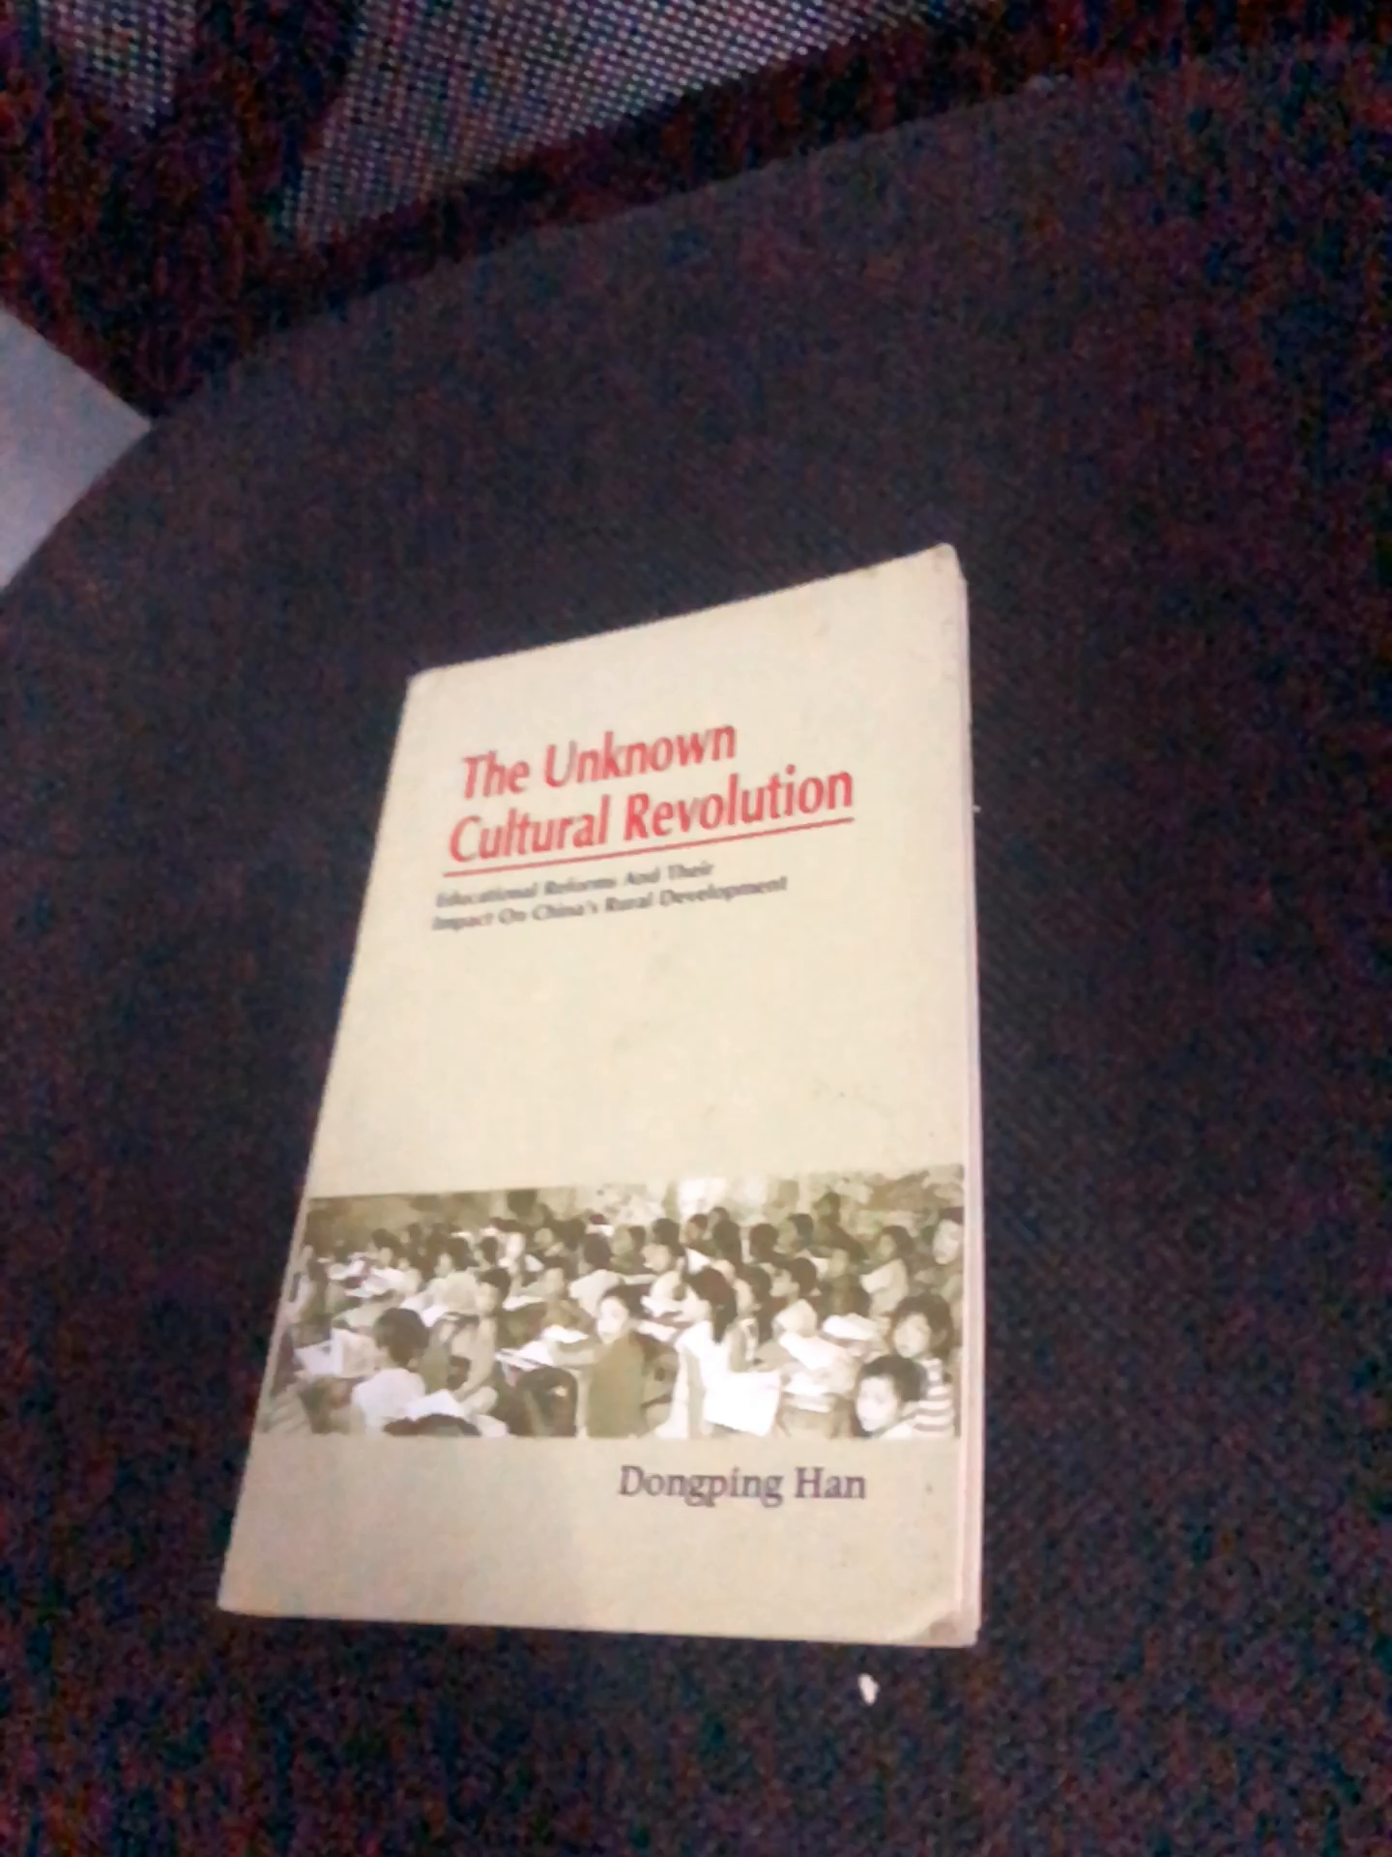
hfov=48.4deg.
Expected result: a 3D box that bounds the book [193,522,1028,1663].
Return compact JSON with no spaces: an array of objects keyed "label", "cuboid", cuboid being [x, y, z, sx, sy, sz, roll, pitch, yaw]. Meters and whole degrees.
[{"label":"book","cuboid":[-0.014,0.025,0.314,0.154,0.017,0.214,-7,63,23]}]
